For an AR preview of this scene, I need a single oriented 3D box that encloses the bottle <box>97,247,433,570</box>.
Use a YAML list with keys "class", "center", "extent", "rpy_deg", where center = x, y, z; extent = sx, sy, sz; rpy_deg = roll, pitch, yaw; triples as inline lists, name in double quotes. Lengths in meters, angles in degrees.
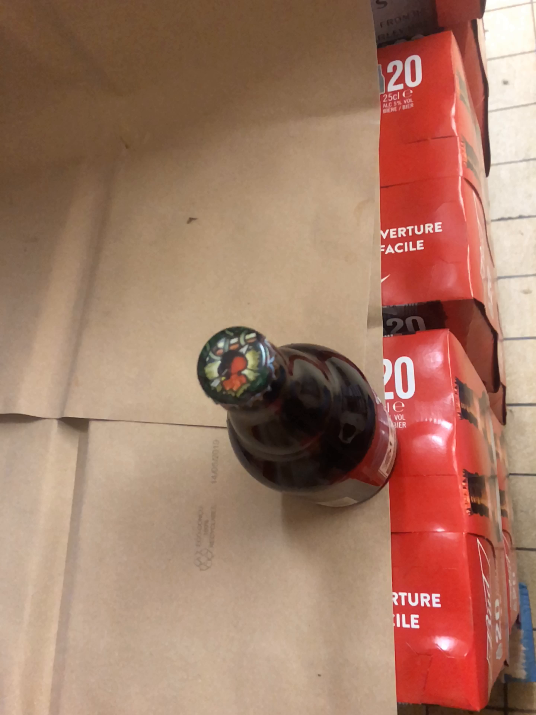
- class: "bottle"
  center: [0.014, 0.036, 0.268]
  extent: [0.080, 0.170, 0.080]
  rpy_deg: [-5, 74, 18]
